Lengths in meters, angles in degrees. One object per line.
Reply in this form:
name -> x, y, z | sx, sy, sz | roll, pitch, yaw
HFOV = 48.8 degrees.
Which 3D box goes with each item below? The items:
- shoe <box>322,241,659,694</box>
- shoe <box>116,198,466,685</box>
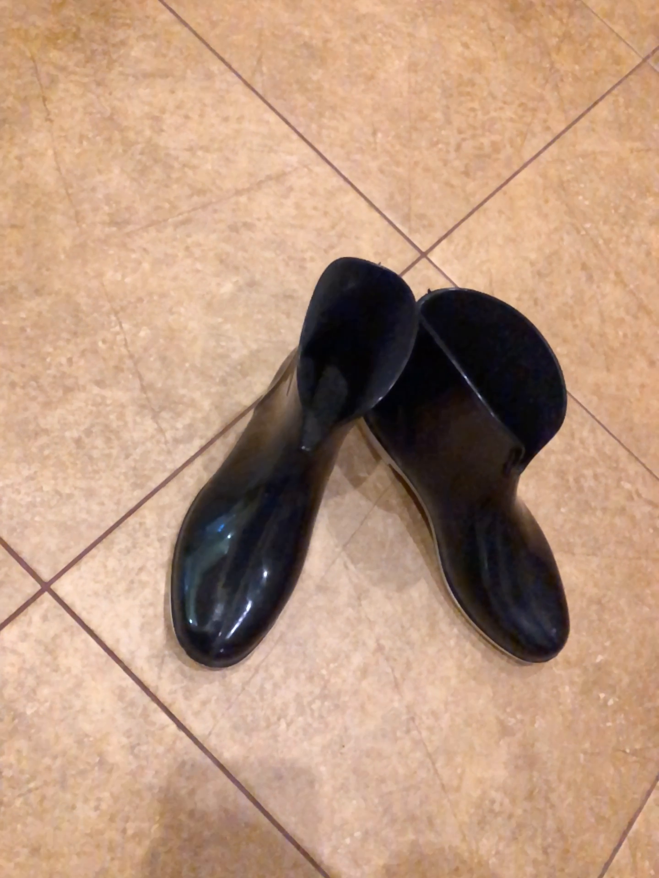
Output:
shoe -> 0.113, 0.031, 0.470 | 0.090, 0.169, 0.240 | -27, 80, -22
shoe -> -0.028, 0.012, 0.440 | 0.090, 0.169, 0.241 | 26, 66, -5
